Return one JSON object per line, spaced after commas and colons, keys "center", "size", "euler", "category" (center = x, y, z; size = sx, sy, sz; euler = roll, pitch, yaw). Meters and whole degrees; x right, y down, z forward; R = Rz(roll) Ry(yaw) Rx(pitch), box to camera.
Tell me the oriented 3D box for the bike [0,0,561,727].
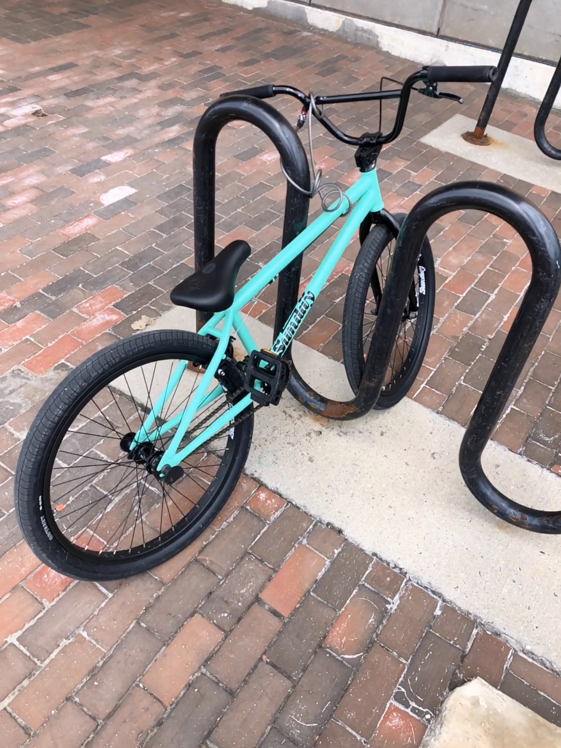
{"center": [-0.007, -0.221, 1.488], "size": [0.811, 1.067, 1.468], "euler": [33, 51, 27], "category": "bike"}
